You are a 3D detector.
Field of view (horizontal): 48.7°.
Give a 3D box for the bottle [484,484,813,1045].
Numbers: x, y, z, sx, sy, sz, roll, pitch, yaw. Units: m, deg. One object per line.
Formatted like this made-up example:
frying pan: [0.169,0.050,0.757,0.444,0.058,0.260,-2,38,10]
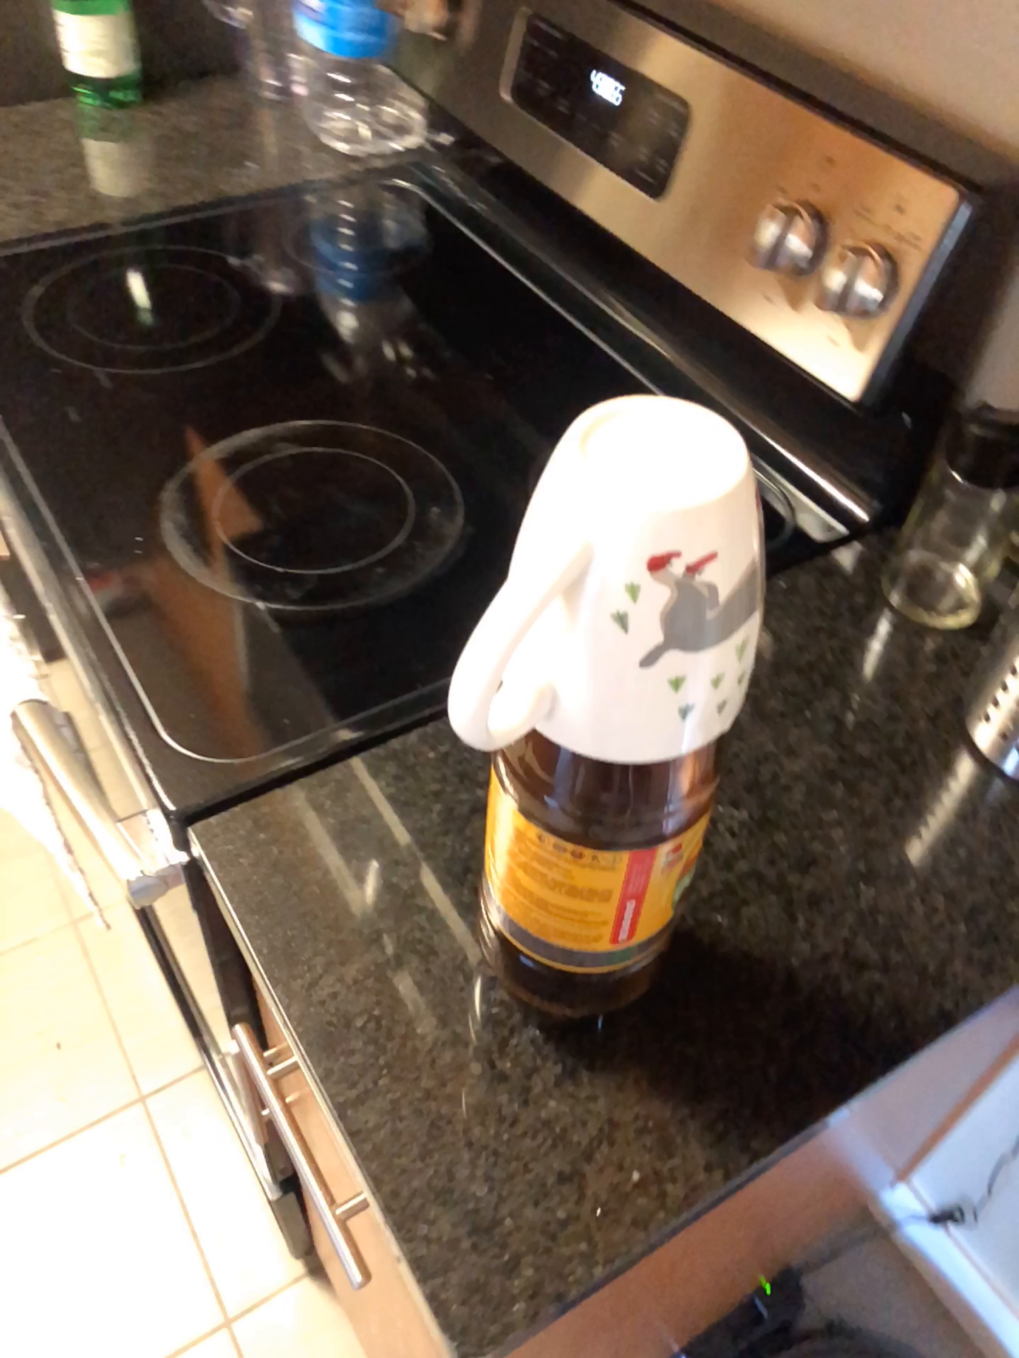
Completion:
bottle: [0.045,0.056,0.516,0.100,0.279,0.100,2,47,-2]
